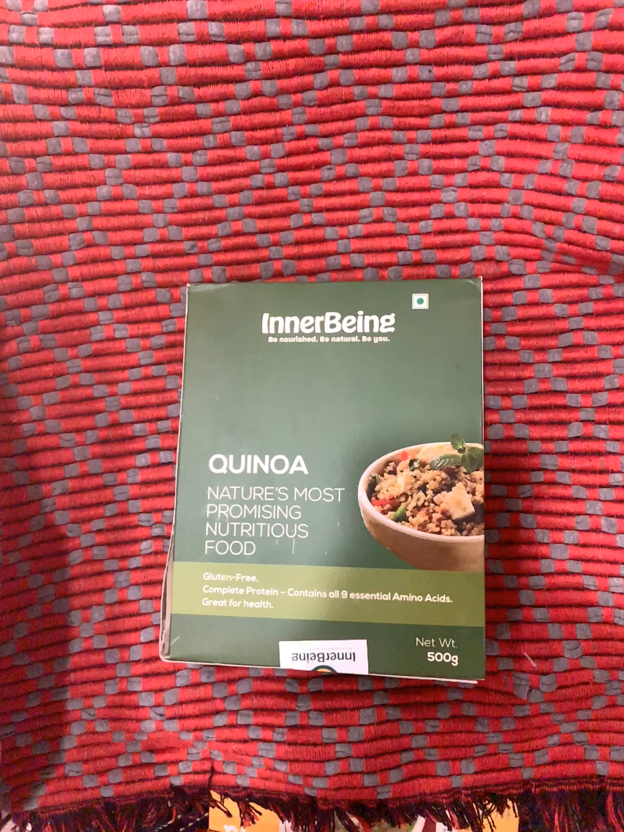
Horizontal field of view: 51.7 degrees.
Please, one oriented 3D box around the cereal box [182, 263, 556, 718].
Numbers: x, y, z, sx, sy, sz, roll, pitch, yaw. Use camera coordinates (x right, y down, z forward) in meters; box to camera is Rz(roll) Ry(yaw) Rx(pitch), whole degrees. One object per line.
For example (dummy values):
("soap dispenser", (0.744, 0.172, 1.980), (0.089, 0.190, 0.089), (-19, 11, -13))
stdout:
("cereal box", (0.025, 0.028, 0.288), (0.150, 0.040, 0.180), (1, 83, 9))
